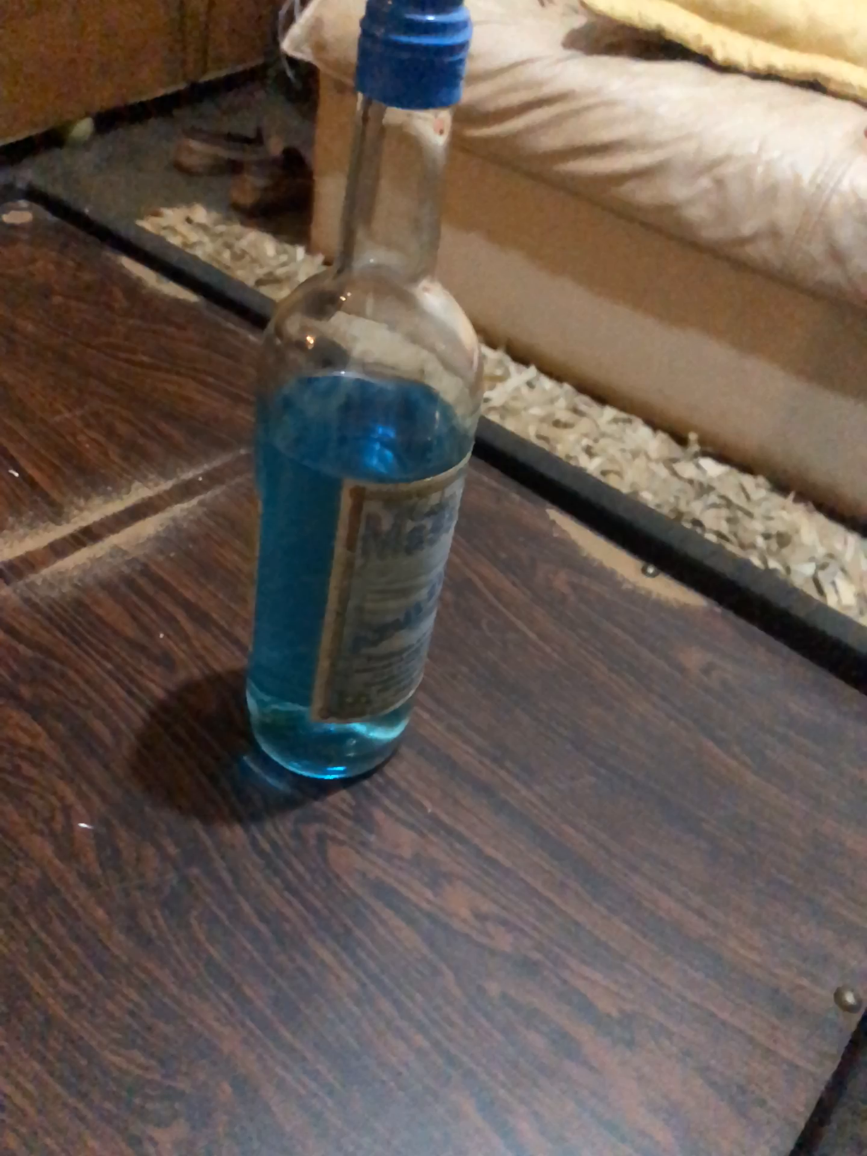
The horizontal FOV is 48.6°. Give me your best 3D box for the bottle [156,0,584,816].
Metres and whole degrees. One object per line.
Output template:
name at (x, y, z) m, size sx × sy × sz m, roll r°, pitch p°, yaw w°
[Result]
bottle at (-0.031, -0.051, 0.344) m, size 0.080 × 0.298 × 0.081 m, roll 5°, pitch 40°, yaw -5°
